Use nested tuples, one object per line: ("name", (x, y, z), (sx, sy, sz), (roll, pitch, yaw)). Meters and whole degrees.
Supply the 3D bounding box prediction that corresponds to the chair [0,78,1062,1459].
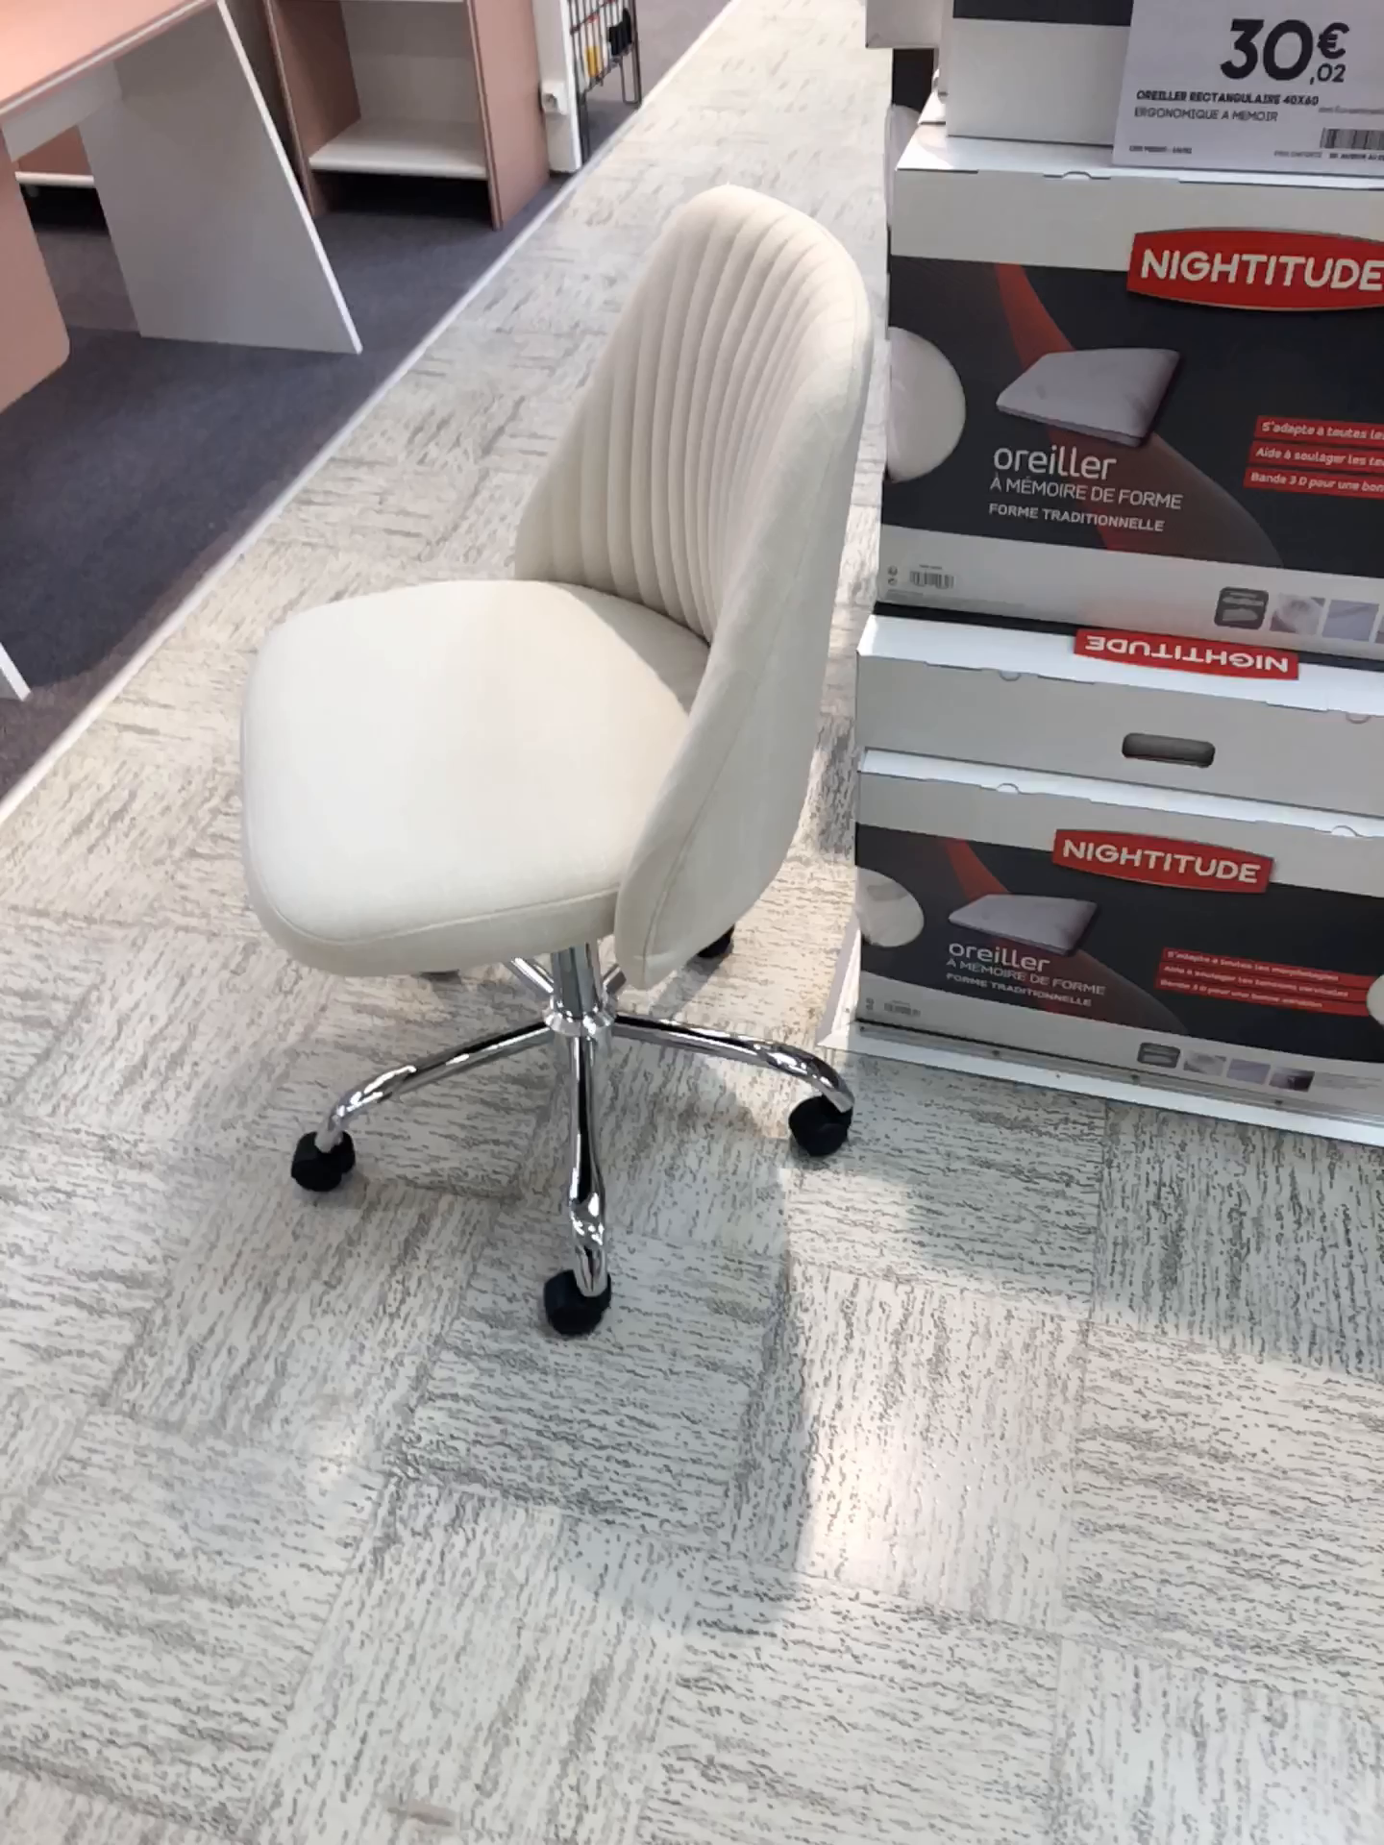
("chair", (-0.188, -0.147, 1.285), (0.631, 0.786, 0.703), (-15, 45, -12))
